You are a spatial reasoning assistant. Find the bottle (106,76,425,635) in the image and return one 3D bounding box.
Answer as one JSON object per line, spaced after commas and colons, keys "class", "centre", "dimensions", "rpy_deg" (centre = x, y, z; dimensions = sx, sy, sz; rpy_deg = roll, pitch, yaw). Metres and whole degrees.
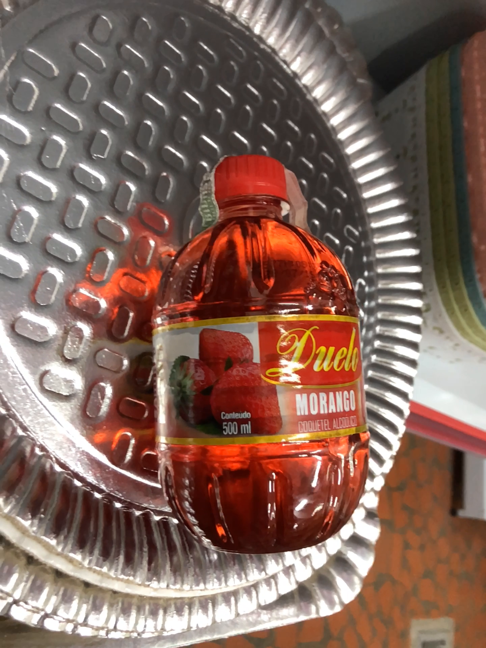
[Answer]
{"class": "bottle", "centre": [0.008, 0.009, 0.202], "dimensions": [0.091, 0.070, 0.150], "rpy_deg": [3, 83, -43]}
